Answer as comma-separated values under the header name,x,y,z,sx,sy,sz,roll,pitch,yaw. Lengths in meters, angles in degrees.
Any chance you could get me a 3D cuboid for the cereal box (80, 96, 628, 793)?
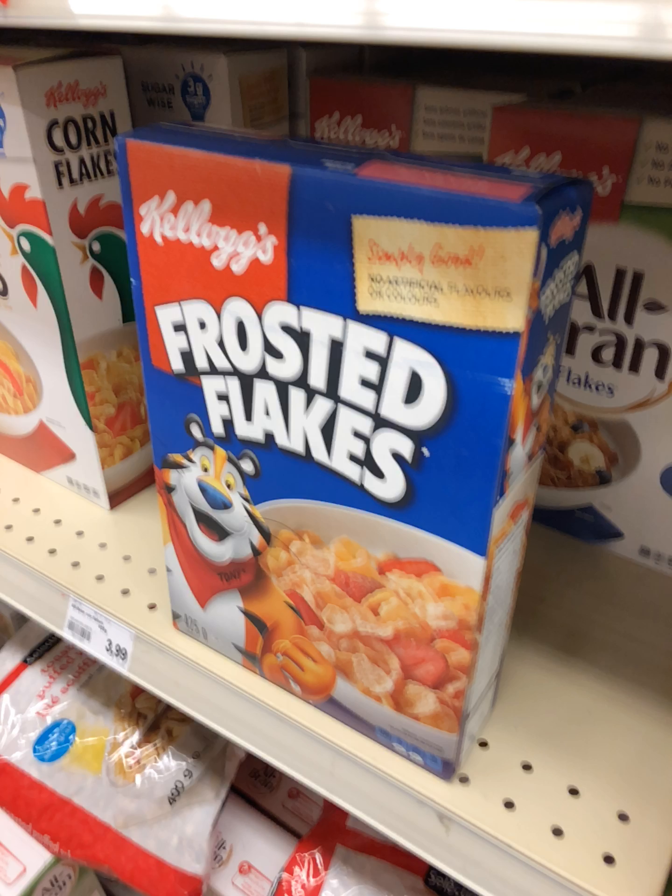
name,x,y,z,sx,sy,sz,roll,pitch,yaw
cereal box,-0.007,-0.003,0.351,0.211,0.278,0.060,20,34,29
